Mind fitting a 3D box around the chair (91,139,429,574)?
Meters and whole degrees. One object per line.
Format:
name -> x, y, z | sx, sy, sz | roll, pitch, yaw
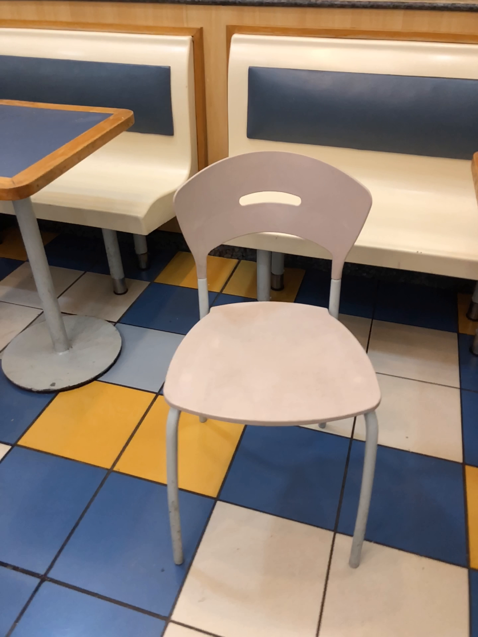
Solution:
chair -> 0.040, 0.092, 1.116 | 0.450, 0.794, 0.474 | 1, 35, 3
